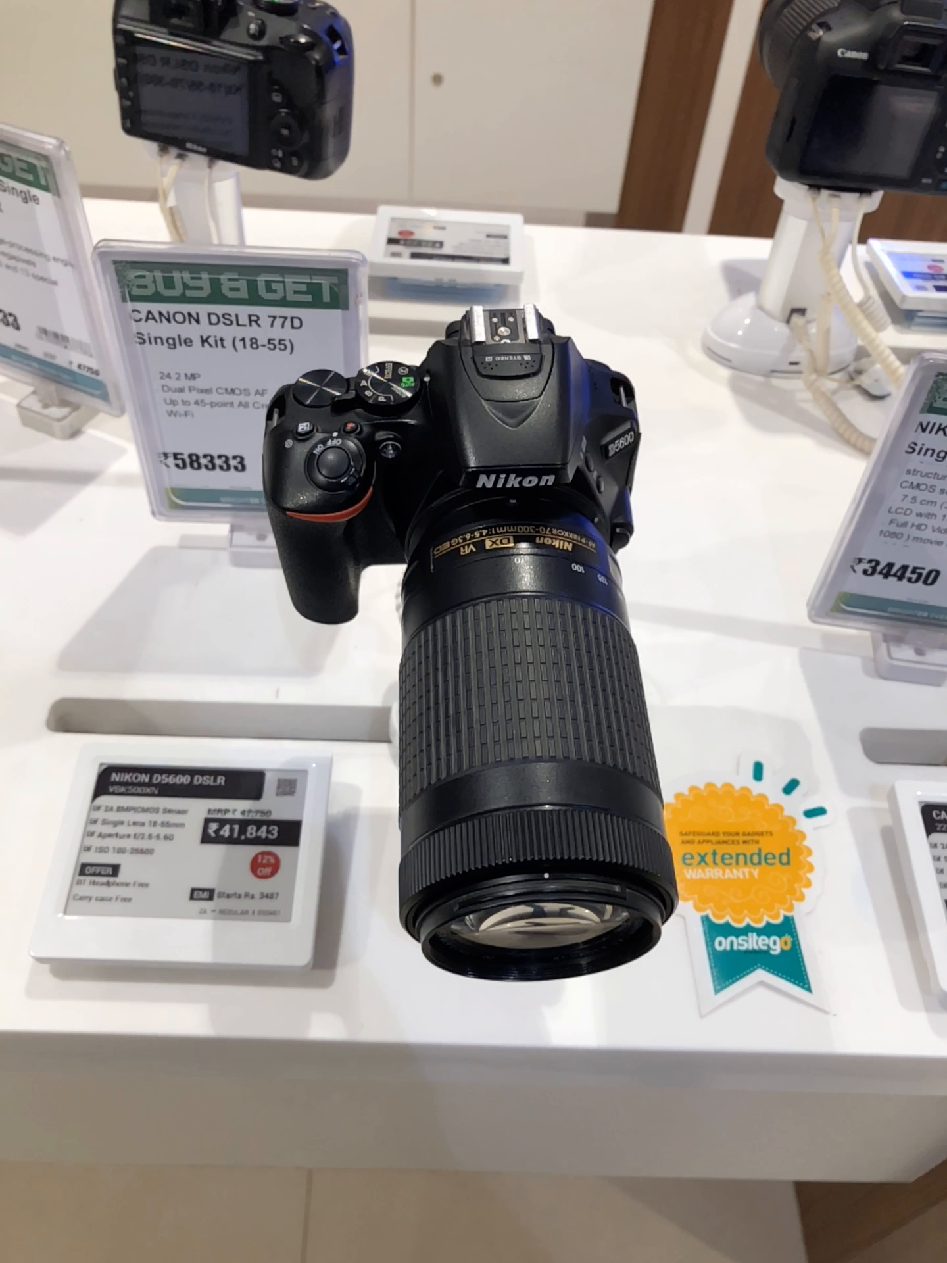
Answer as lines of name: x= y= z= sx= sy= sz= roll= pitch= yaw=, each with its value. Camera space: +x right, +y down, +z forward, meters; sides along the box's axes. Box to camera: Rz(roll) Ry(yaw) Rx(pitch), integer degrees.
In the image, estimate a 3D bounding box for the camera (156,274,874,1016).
camera: x=0.003 y=-0.007 z=0.304 sx=0.140 sy=0.089 sz=0.201 roll=1 pitch=49 yaw=-4
